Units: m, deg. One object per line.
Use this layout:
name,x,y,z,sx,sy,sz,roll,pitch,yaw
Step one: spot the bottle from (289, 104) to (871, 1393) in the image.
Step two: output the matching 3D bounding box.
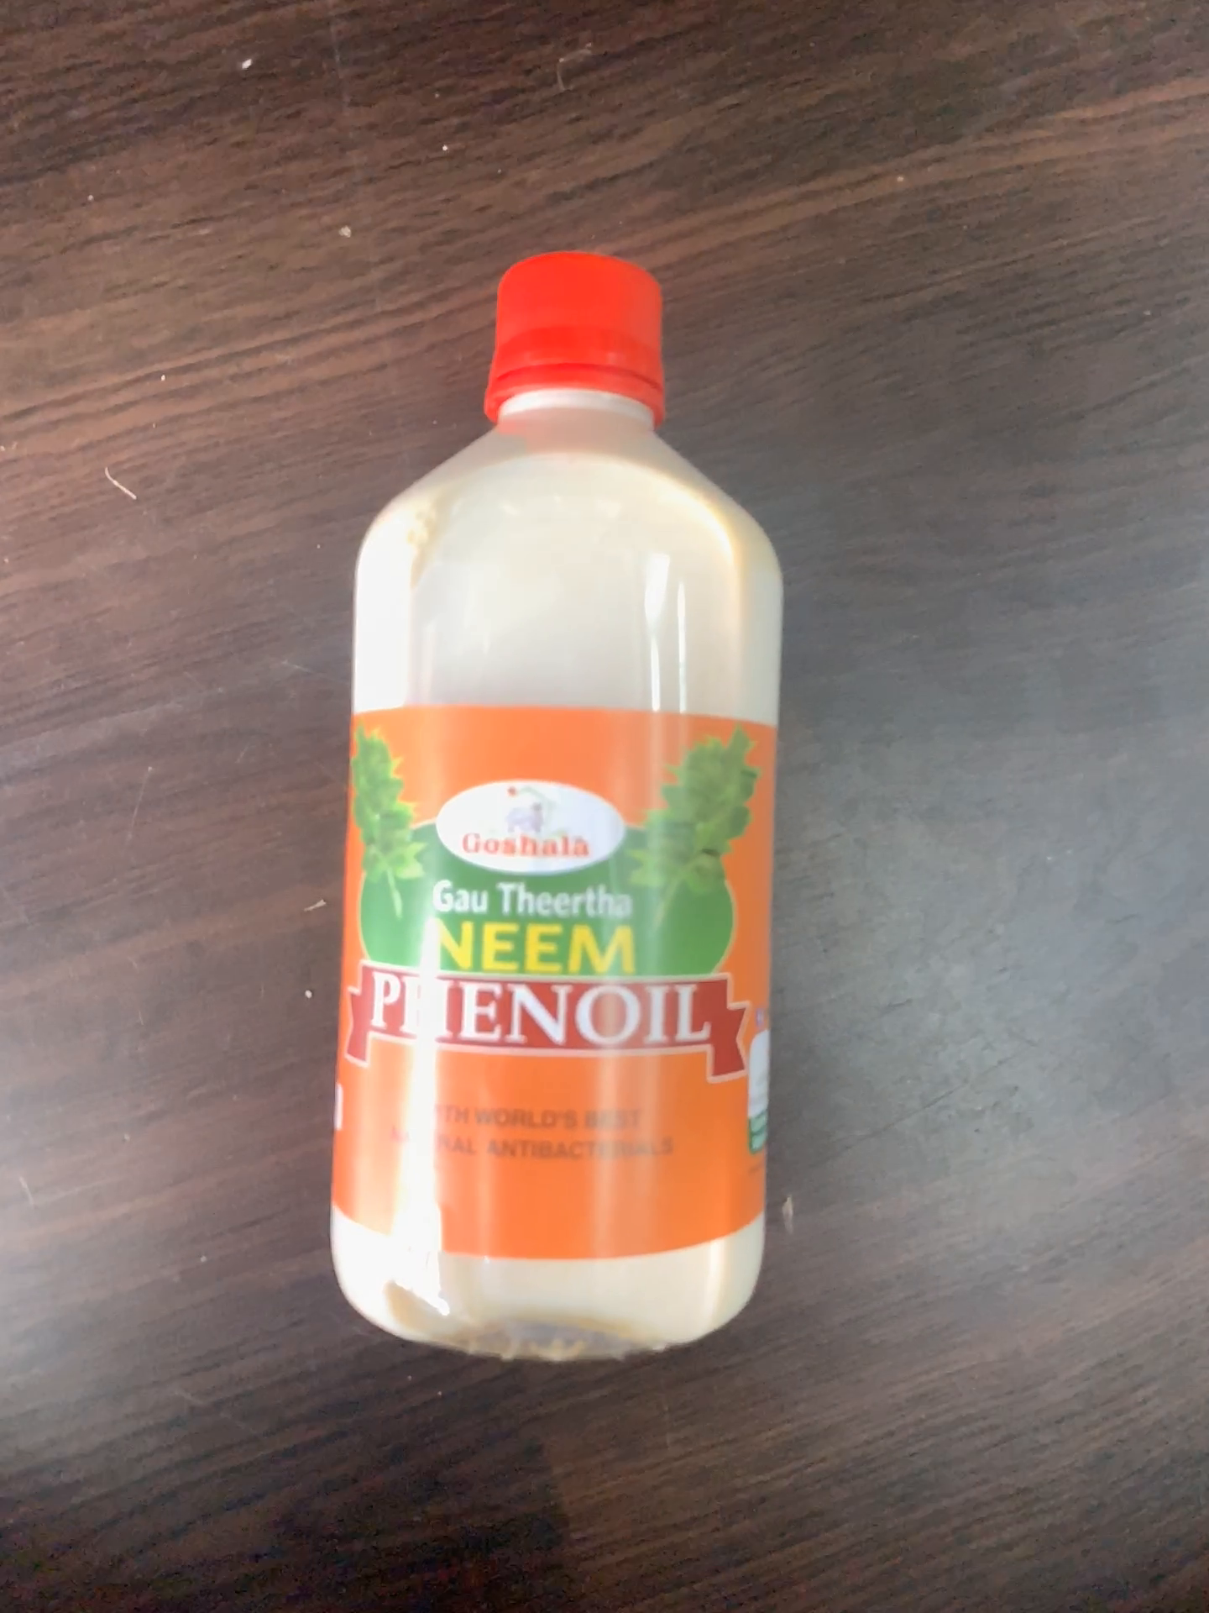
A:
bottle,-0.005,-0.008,0.221,0.080,0.070,0.190,2,91,-3
